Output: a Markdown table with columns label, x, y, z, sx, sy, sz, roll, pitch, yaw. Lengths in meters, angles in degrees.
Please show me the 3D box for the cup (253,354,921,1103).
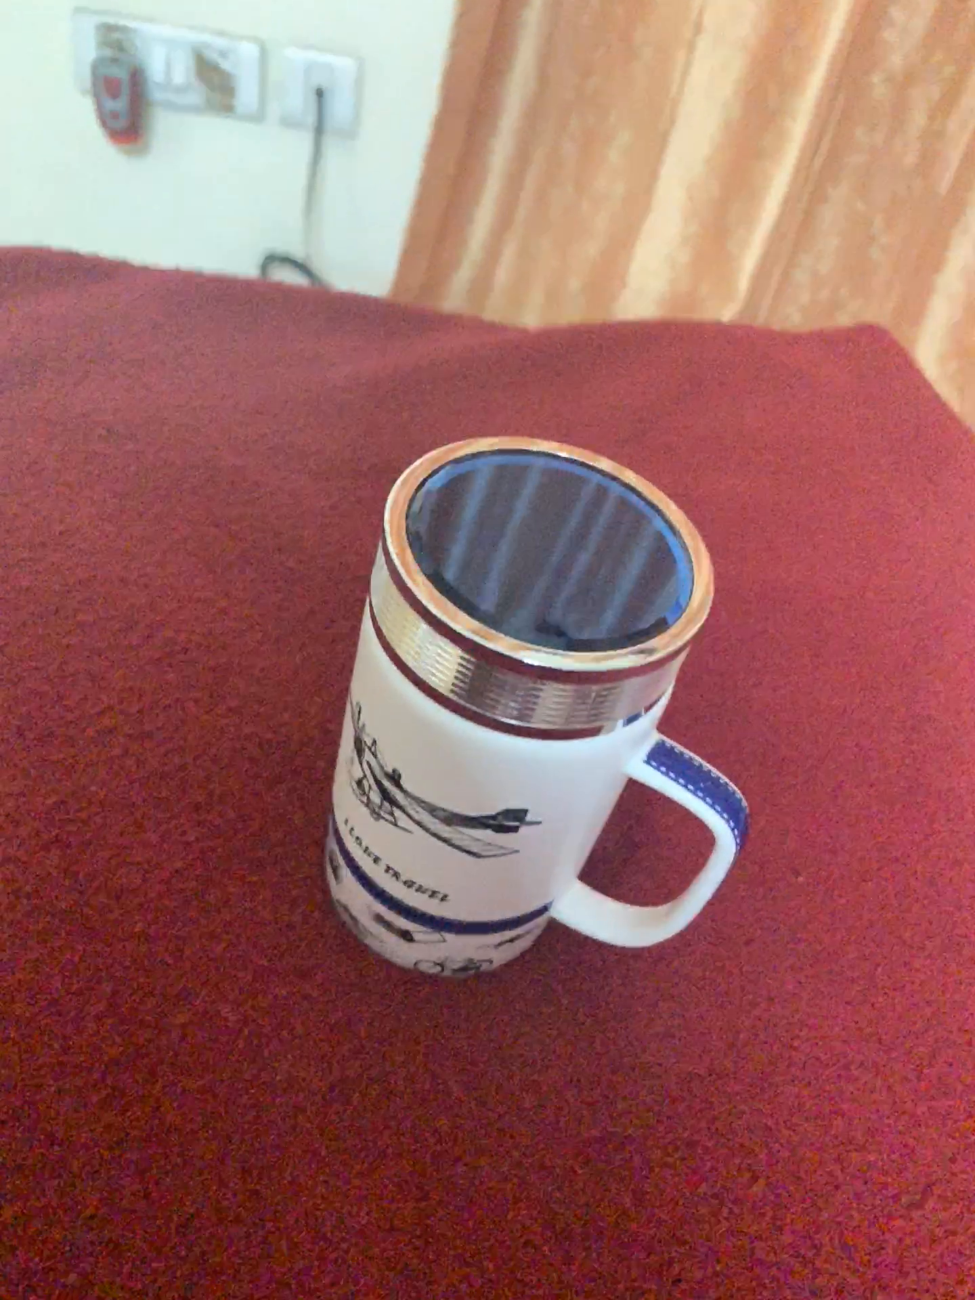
| label | x | y | z | sx | sy | sz | roll | pitch | yaw |
| --- | --- | --- | --- | --- | --- | --- | --- | --- | --- |
| cup | 0.015 | 0.023 | 0.278 | 0.120 | 0.139 | 0.091 | 32 | 48 | 15 |
